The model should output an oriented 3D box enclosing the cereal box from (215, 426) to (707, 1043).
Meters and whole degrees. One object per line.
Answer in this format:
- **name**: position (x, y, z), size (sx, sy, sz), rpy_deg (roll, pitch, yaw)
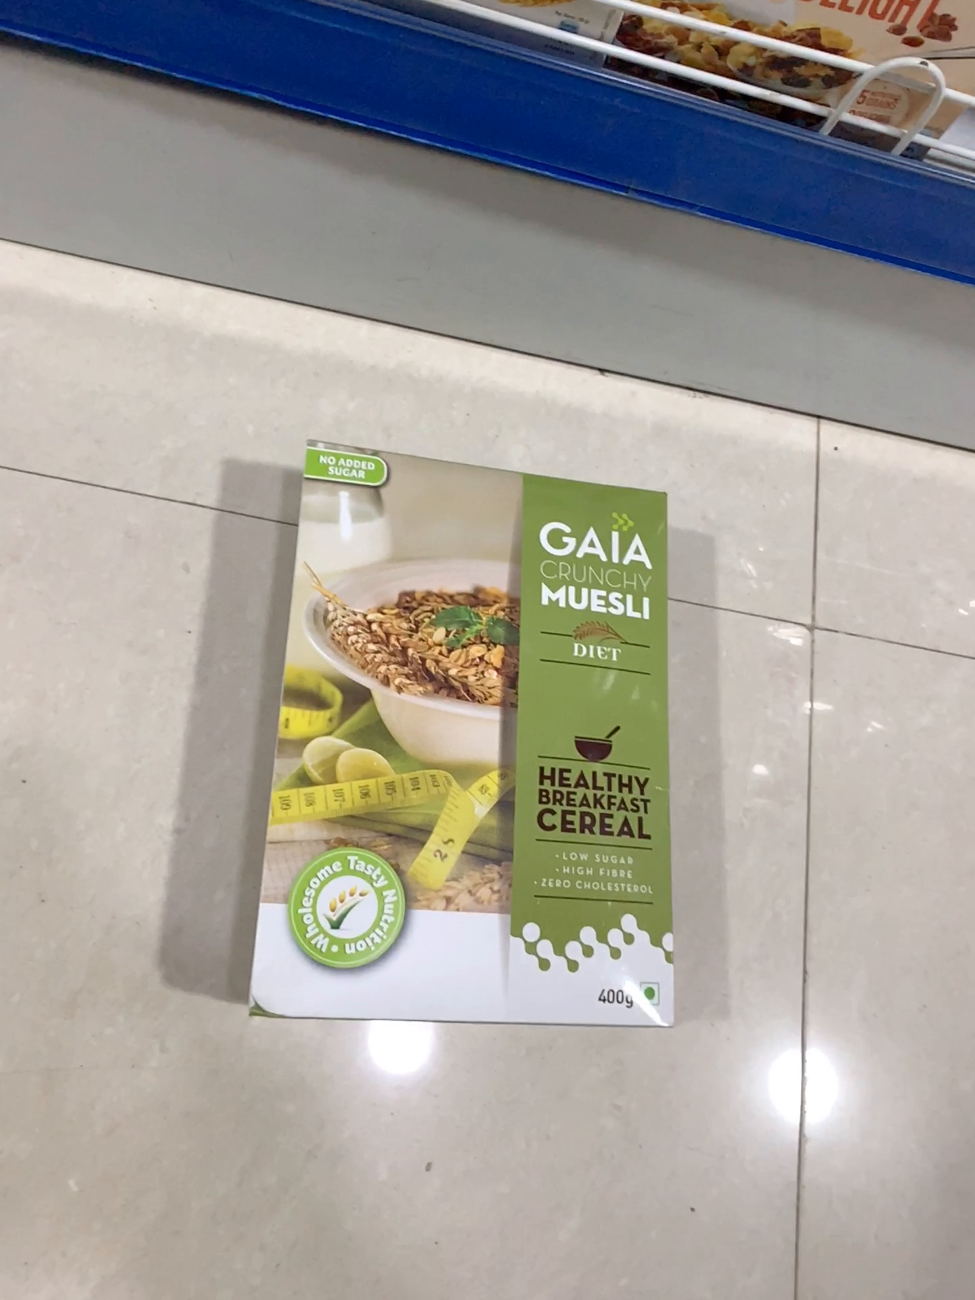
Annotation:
- **cereal box**: position (-0.008, 0.038, 0.423), size (0.180, 0.070, 0.230), rpy_deg (5, 74, -11)
